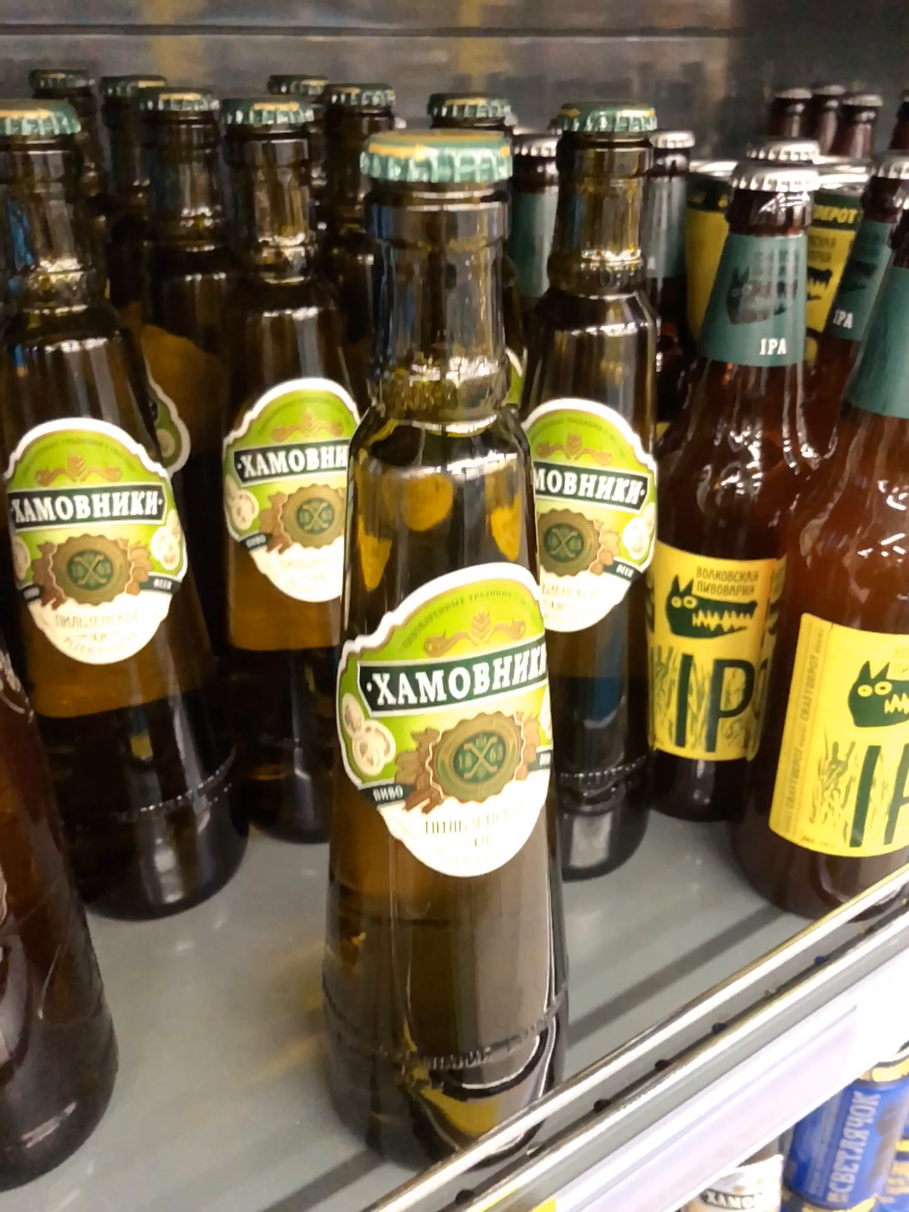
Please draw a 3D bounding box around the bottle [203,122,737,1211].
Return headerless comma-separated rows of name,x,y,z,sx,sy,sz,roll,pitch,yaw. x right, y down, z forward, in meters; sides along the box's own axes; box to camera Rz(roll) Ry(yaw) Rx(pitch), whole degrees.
bottle,-0.001,0.033,0.239,0.070,0.260,0.070,0,29,0
